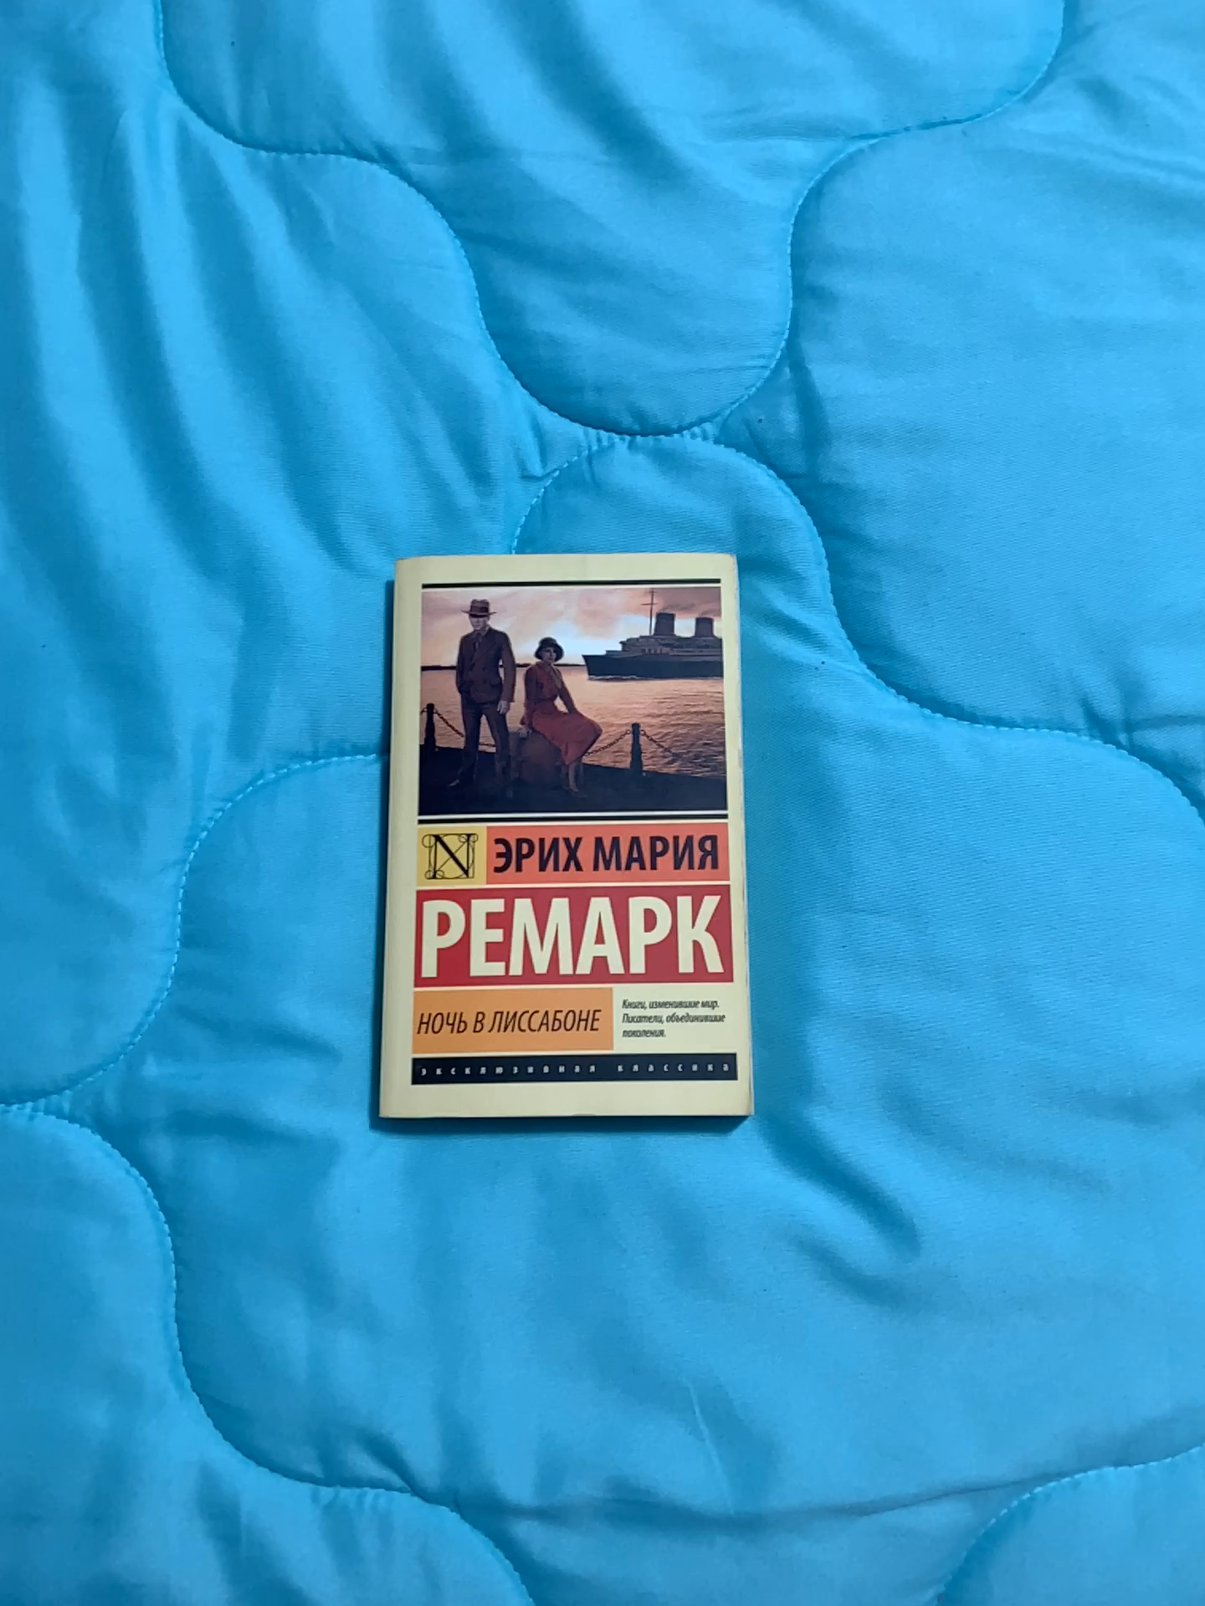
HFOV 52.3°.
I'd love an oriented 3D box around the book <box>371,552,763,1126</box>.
[{"bbox_3d":[-0.011,0.009,0.378,0.112,0.020,0.172,-1,80,0],"label":"book"}]
